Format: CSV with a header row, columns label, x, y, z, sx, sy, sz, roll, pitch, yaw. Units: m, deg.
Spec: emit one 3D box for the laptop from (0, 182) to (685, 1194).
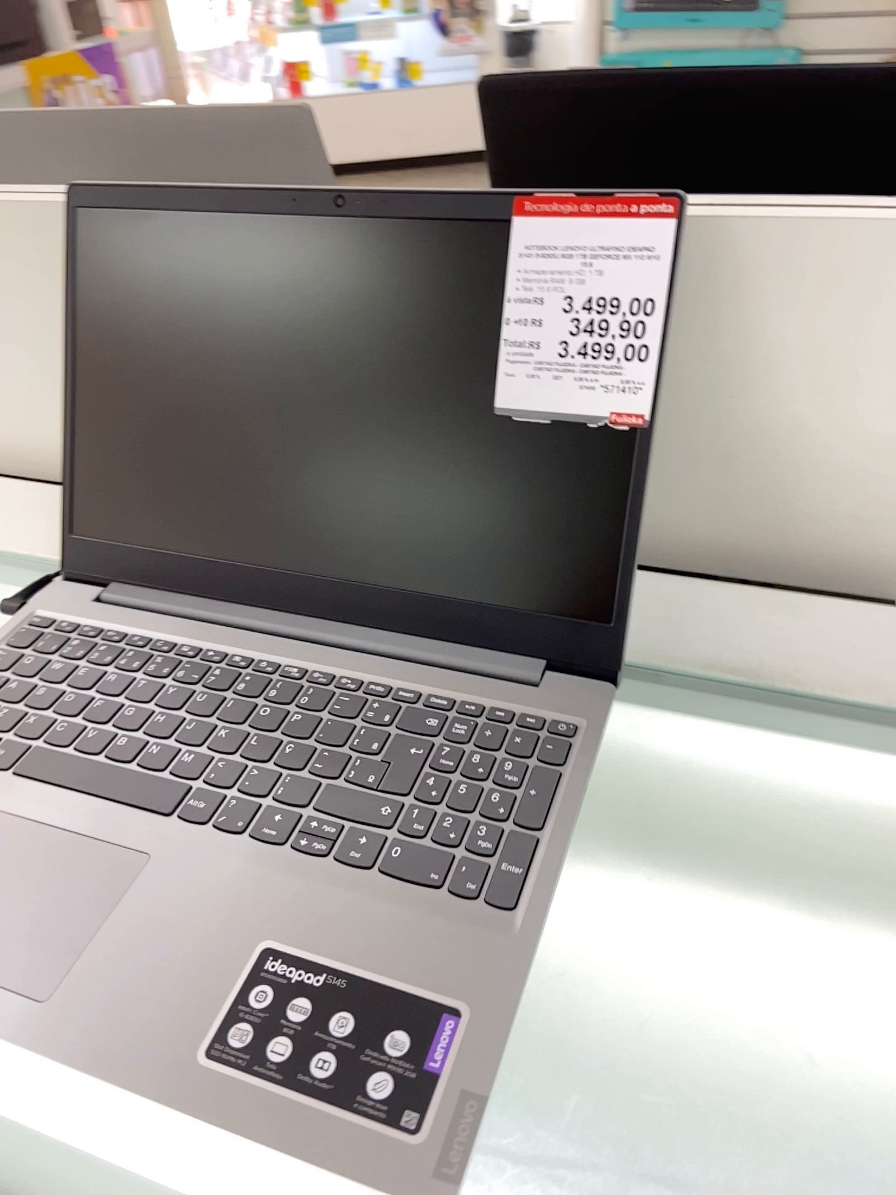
label,x,y,z,sx,sy,sz,roll,pitch,yaw
laptop,-0.111,-0.026,0.417,0.359,0.201,0.367,9,41,19
